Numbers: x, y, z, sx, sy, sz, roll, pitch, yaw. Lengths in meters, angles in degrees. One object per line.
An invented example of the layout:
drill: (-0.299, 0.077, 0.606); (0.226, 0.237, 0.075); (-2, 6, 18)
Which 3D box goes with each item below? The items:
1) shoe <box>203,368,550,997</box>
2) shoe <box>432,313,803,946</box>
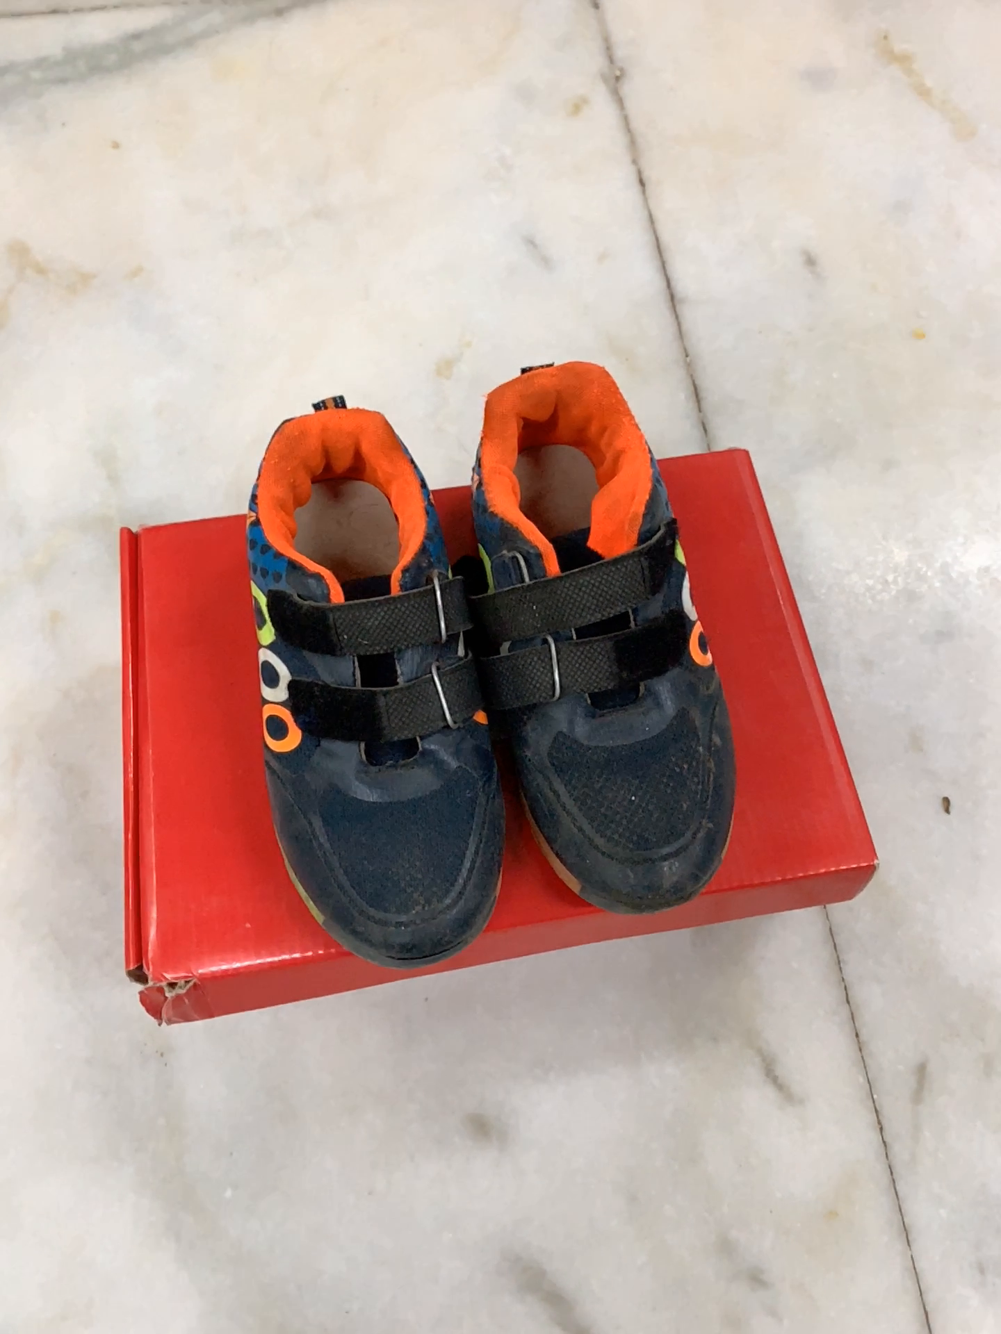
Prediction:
shoe: (-0.050, 0.005, 0.393); (0.090, 0.090, 0.211); (-9, 68, -5)
shoe: (0.031, -0.016, 0.380); (0.080, 0.080, 0.211); (-9, 68, -5)
